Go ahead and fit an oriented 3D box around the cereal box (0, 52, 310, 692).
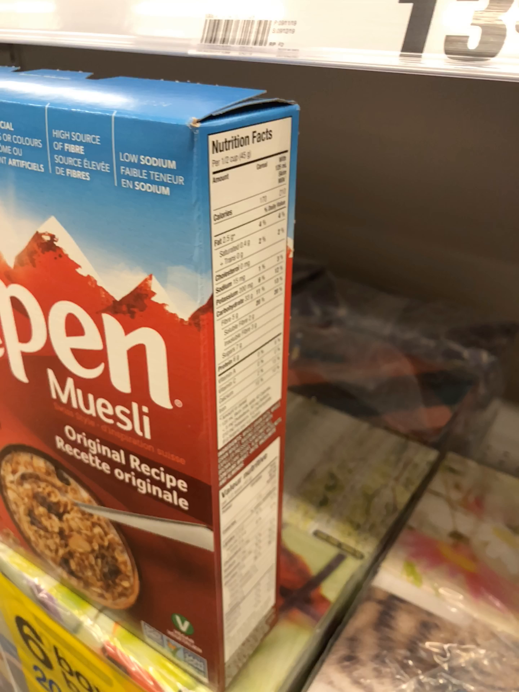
[{"bbox_3d":[-0.076,0.012,0.243,0.180,0.229,0.050,19,35,28],"label":"cereal box"}]
